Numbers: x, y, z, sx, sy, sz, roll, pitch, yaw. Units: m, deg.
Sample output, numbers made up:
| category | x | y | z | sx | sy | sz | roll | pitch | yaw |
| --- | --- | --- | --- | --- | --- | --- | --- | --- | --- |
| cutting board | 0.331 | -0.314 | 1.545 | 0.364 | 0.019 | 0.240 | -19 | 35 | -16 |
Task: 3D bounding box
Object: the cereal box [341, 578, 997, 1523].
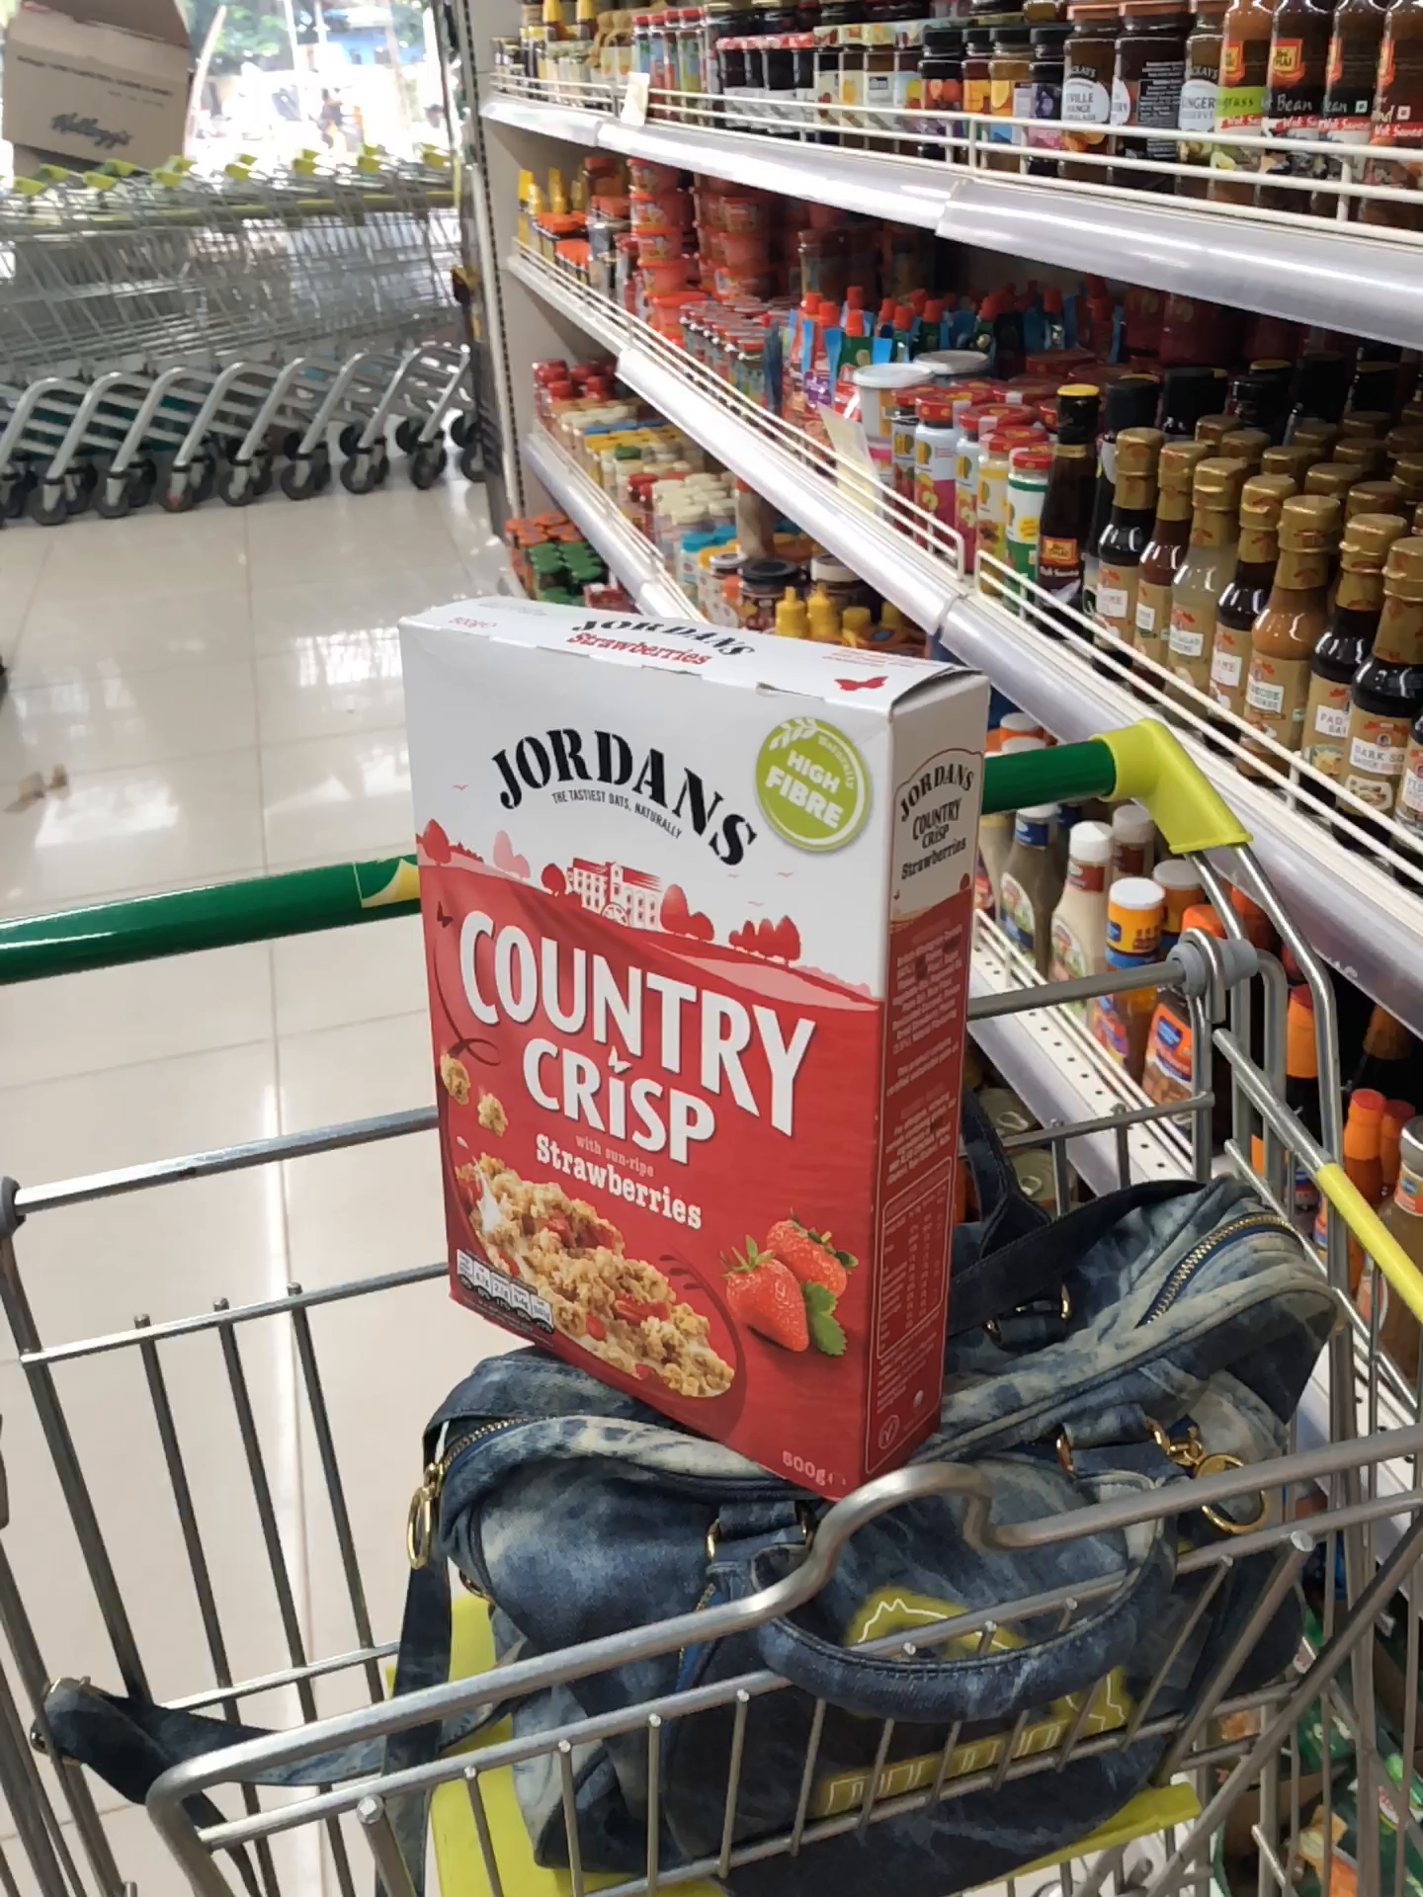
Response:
| category | x | y | z | sx | sy | sz | roll | pitch | yaw |
| --- | --- | --- | --- | --- | --- | --- | --- | --- | --- |
| cereal box | -0.018 | 0.025 | 0.497 | 0.190 | 0.249 | 0.060 | 18 | 30 | 34 |
